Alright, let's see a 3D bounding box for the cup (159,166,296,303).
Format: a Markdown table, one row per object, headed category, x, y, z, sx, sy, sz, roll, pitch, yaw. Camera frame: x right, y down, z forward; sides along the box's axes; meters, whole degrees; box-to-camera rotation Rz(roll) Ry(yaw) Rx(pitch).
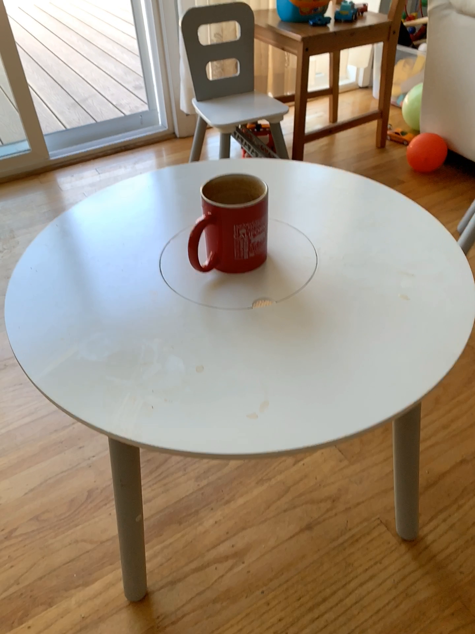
| category | x | y | z | sx | sy | sz | roll | pitch | yaw |
| --- | --- | --- | --- | --- | --- | --- | --- | --- | --- |
| cup | -0.009 | -0.102 | 0.586 | 0.090 | 0.090 | 0.130 | 33 | 53 | 32 |
